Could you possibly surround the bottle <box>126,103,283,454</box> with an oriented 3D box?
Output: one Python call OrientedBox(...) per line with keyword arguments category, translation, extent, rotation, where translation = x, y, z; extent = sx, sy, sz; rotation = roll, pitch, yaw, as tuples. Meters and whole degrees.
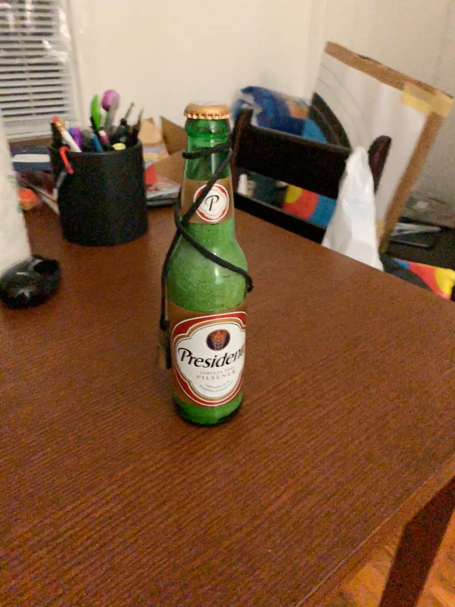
OrientedBox(category="bottle", translation=(-0.019, -0.010, 0.339), extent=(0.080, 0.239, 0.070), rotation=(-7, 31, -13))
